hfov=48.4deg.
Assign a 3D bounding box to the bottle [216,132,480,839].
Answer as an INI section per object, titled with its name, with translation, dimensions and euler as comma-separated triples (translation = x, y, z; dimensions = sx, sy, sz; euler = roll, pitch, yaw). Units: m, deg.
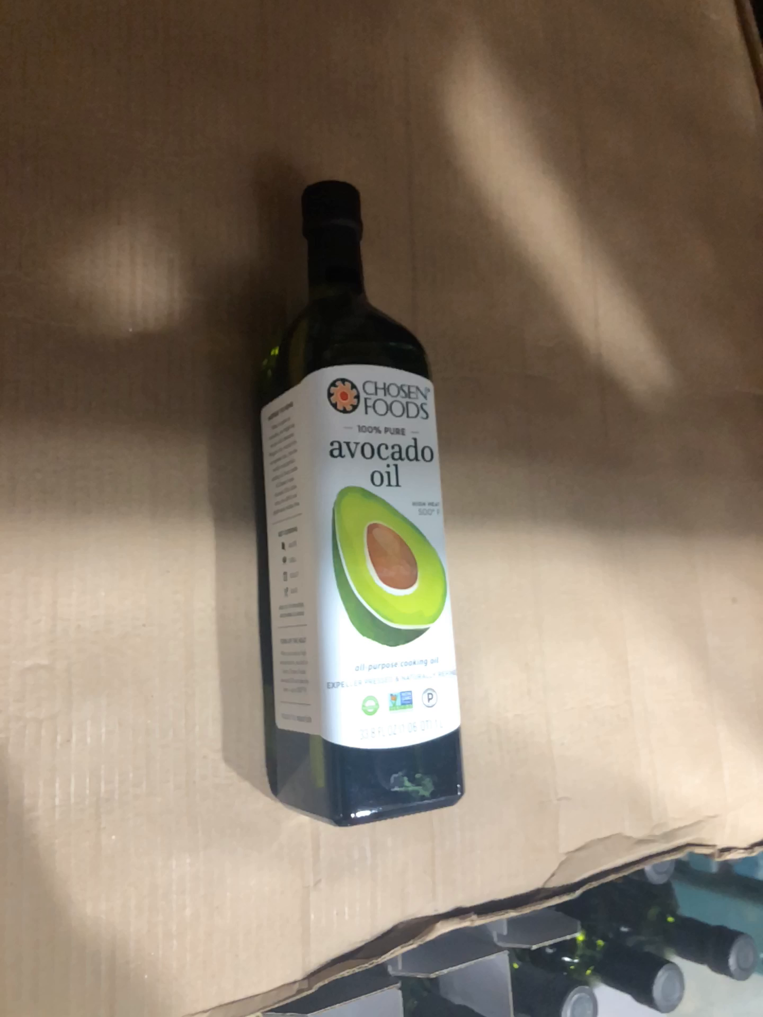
[bottle]
translation = -0.022, -0.013, 0.431
dimensions = 0.087, 0.074, 0.320
euler = 1, 80, -32
